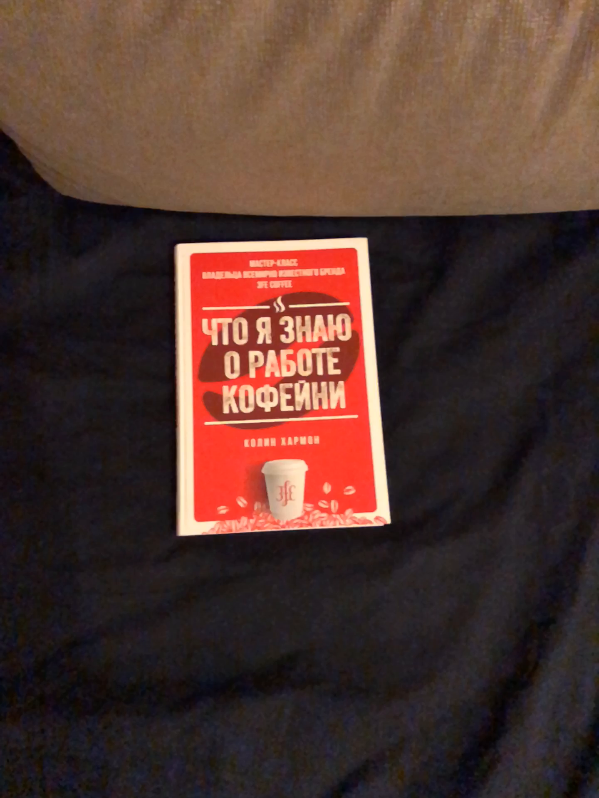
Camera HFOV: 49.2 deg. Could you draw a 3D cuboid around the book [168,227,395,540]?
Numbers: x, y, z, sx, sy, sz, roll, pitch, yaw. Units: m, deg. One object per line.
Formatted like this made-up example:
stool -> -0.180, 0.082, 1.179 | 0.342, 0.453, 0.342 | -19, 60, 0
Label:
book -> -0.016, -0.015, 0.478 | 0.153, 0.020, 0.222 | -3, 78, -1
